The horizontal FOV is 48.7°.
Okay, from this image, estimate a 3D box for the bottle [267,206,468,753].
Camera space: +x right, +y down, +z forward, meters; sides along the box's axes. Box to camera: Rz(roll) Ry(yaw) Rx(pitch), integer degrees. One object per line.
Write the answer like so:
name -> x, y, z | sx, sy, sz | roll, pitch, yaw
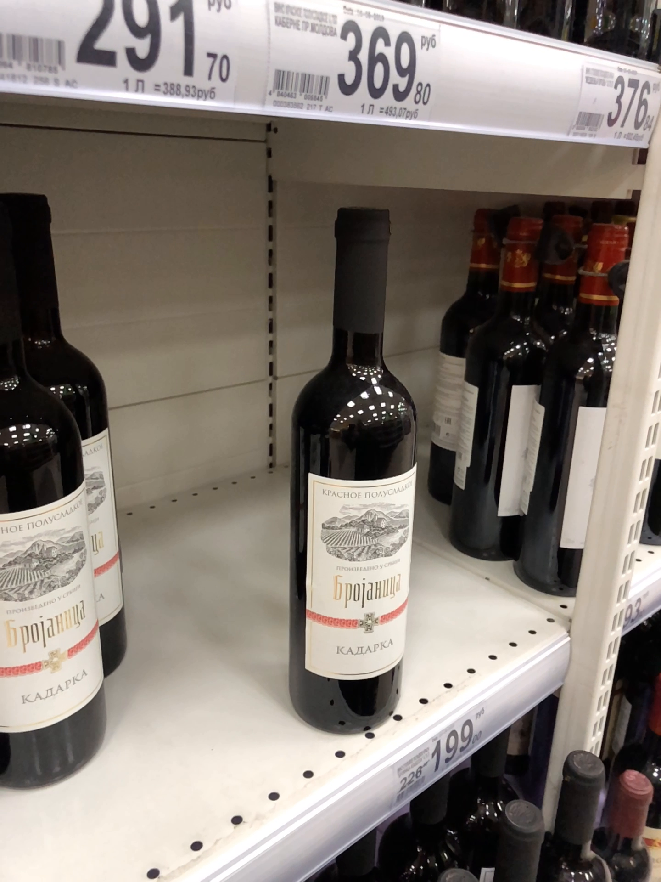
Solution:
bottle -> 0.011, 0.025, 0.433 | 0.080, 0.308, 0.080 | 2, 20, -1
